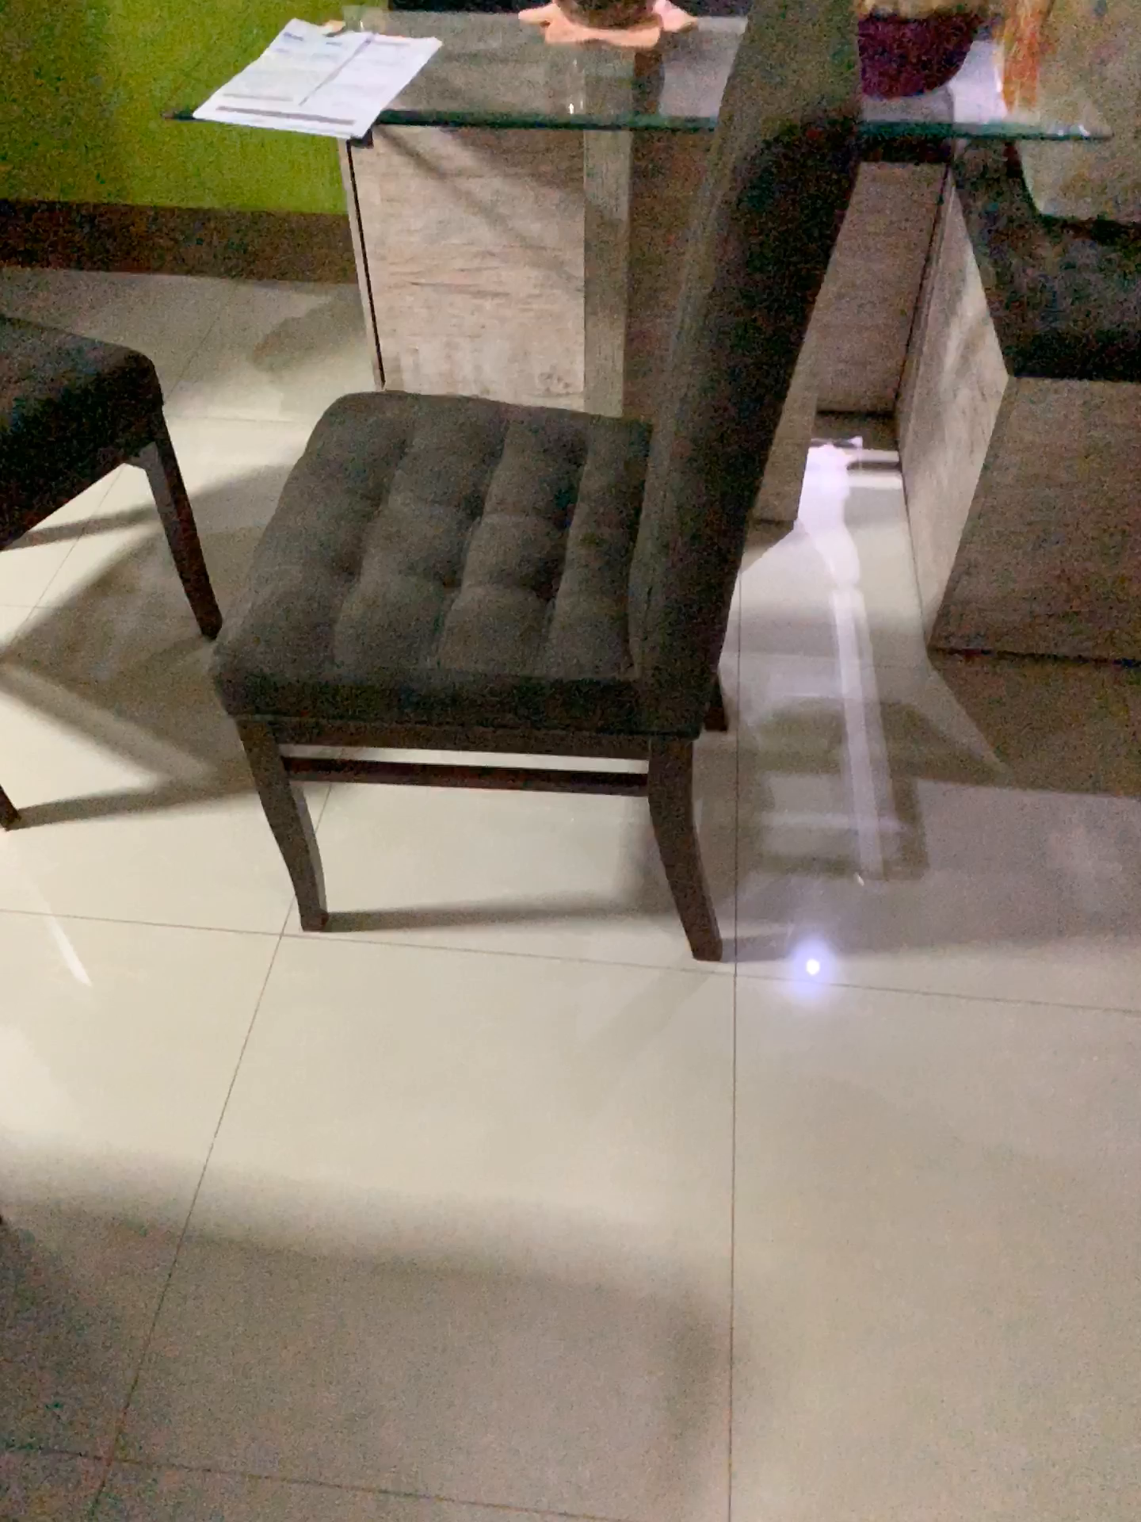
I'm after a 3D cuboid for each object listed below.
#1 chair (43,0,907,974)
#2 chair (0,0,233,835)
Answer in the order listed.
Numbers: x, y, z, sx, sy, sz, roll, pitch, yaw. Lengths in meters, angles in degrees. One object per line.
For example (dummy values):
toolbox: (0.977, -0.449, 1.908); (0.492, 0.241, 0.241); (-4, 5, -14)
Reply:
chair: (-0.037, -0.277, 1.289); (0.570, 0.971, 0.525); (5, 48, 5)
chair: (-0.921, -0.488, 1.476); (0.571, 0.981, 0.494); (21, 51, 19)
